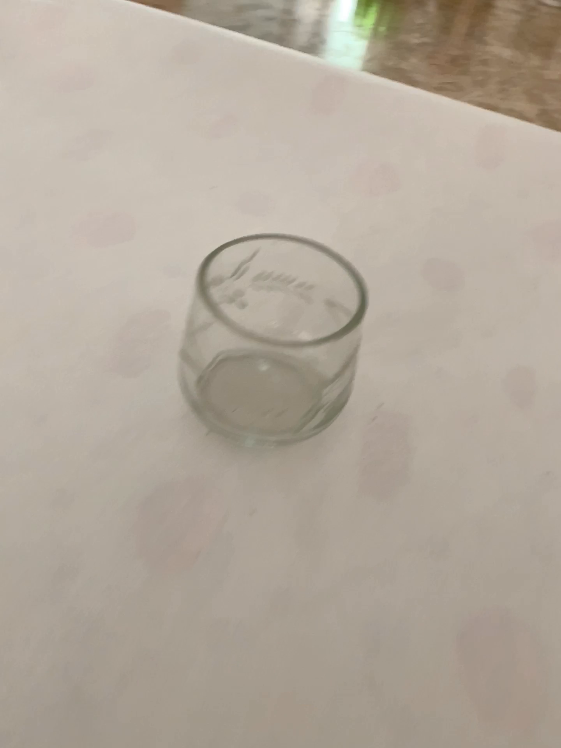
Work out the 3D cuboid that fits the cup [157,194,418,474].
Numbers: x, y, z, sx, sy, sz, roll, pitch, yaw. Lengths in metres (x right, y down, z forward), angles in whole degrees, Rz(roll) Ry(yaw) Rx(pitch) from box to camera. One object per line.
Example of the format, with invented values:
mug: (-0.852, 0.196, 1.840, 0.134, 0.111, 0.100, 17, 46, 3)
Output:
cup: (0.003, -0.019, 0.247, 0.080, 0.060, 0.080, 6, 47, -6)
